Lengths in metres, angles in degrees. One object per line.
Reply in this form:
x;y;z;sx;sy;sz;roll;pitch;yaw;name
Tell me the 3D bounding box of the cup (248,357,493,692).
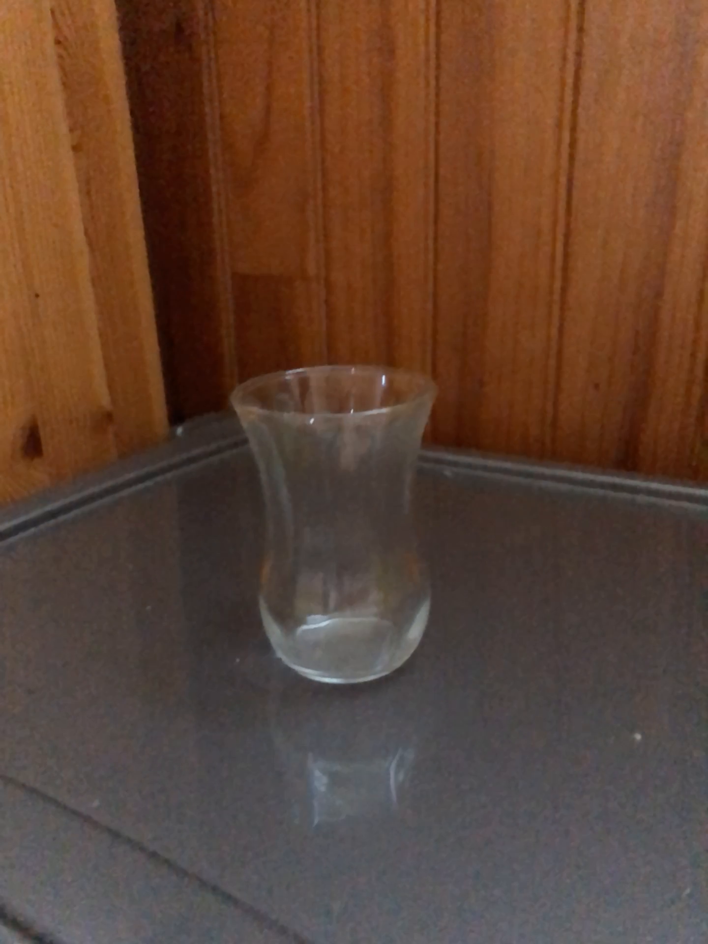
0.008;0.012;0.233;0.060;0.080;0.060;-1;20;0;cup
